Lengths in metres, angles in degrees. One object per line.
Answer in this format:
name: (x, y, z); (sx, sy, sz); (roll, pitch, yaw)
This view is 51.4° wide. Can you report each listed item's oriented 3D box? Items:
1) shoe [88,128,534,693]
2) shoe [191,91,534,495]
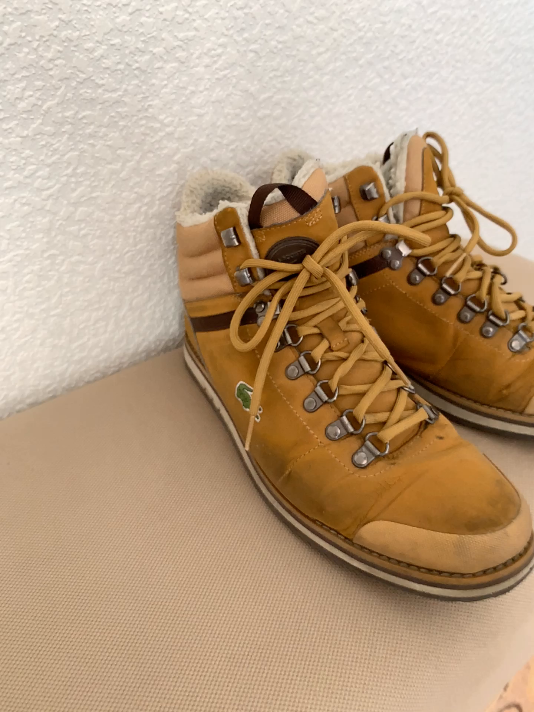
shoe: (0.020, -0.009, 0.323); (0.120, 0.149, 0.301); (-22, 43, -26)
shoe: (0.102, -0.065, 0.389); (0.301, 0.149, 0.120); (27, 46, 27)
